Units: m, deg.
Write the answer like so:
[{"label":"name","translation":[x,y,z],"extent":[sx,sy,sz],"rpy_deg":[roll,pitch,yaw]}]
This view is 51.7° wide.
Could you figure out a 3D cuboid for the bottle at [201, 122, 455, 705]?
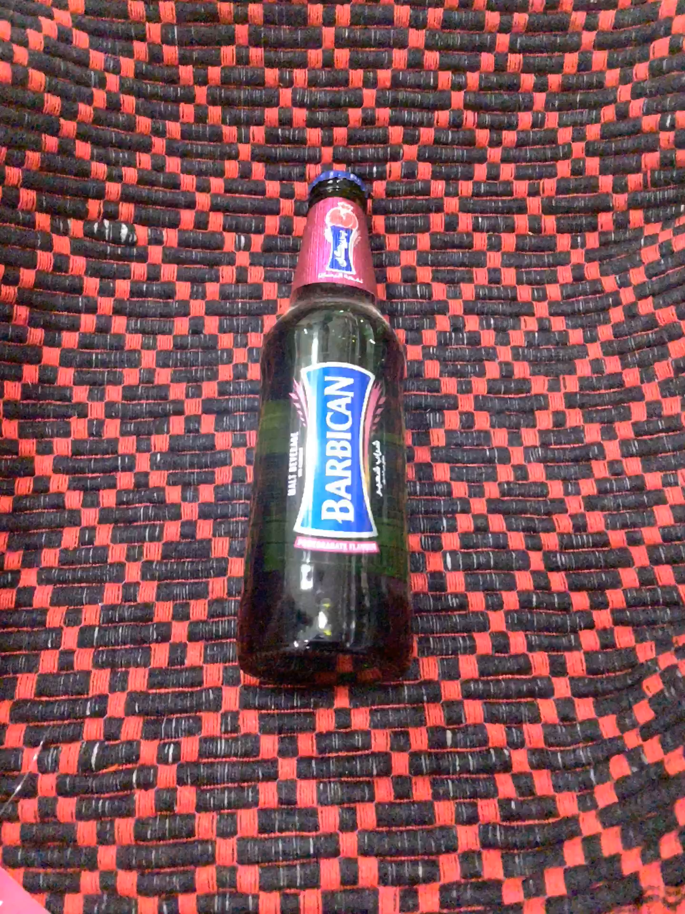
[{"label":"bottle","translation":[-0.003,-0.031,0.295],"extent":[0.070,0.080,0.241],"rpy_deg":[2,57,-1]}]
